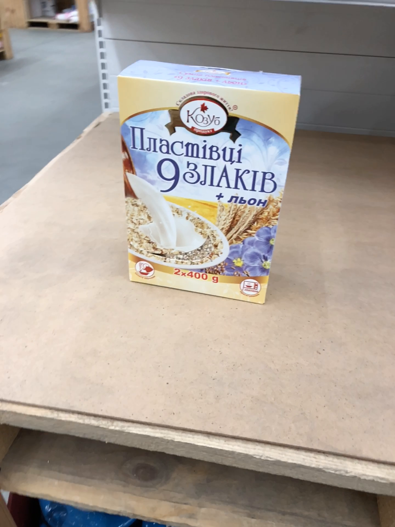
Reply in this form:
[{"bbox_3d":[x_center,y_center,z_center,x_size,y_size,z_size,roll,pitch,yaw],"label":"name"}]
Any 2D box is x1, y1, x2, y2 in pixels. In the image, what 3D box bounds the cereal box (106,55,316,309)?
[{"bbox_3d":[0.011,-0.079,0.466,0.180,0.238,0.071,9,37,8],"label":"cereal box"}]
